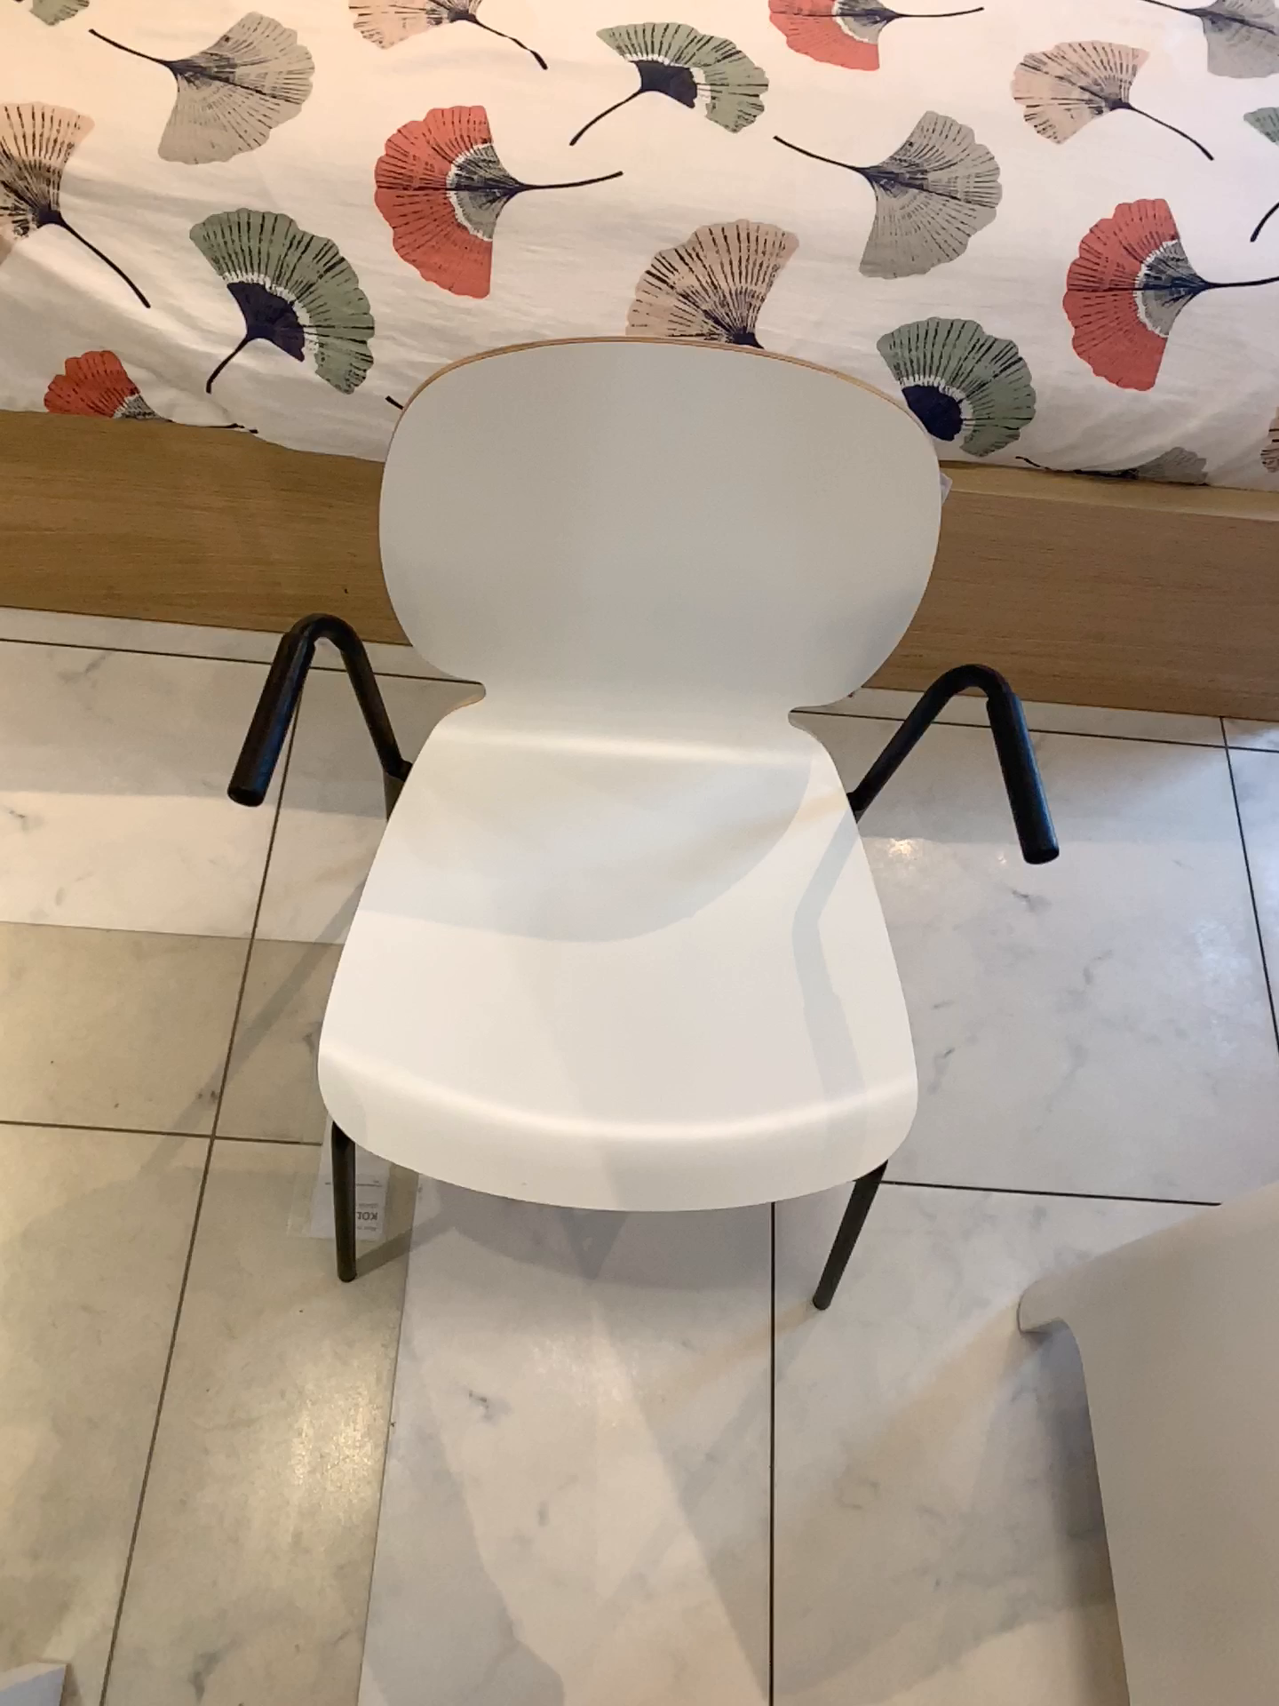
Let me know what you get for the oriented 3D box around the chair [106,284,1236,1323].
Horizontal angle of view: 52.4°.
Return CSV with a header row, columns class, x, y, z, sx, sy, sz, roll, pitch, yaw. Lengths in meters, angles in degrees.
class,x,y,z,sx,sy,sz,roll,pitch,yaw
chair,0.004,0.042,1.063,0.550,0.699,0.541,4,63,-3
